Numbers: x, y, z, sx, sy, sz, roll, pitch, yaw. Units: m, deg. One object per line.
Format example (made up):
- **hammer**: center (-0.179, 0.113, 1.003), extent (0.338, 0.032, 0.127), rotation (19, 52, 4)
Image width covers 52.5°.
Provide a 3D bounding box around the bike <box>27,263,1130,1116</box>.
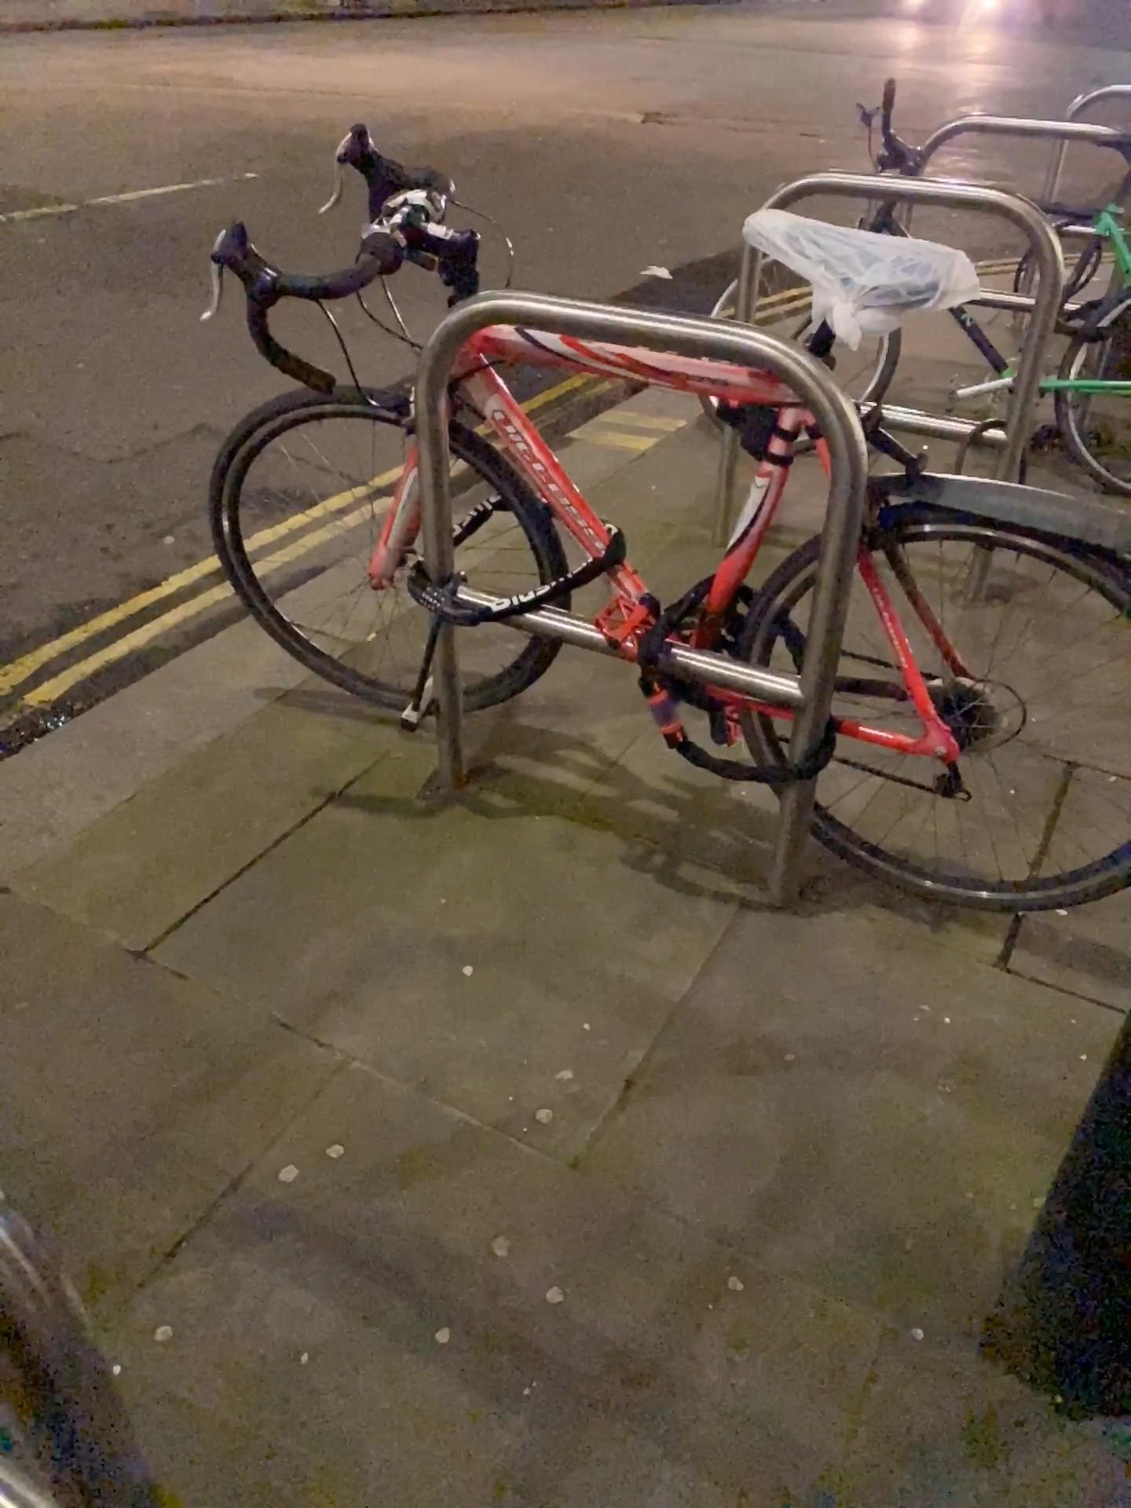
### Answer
- **bike**: center (0.074, -0.202, 1.793), extent (1.661, 0.809, 0.539), rotation (17, 39, 22)
